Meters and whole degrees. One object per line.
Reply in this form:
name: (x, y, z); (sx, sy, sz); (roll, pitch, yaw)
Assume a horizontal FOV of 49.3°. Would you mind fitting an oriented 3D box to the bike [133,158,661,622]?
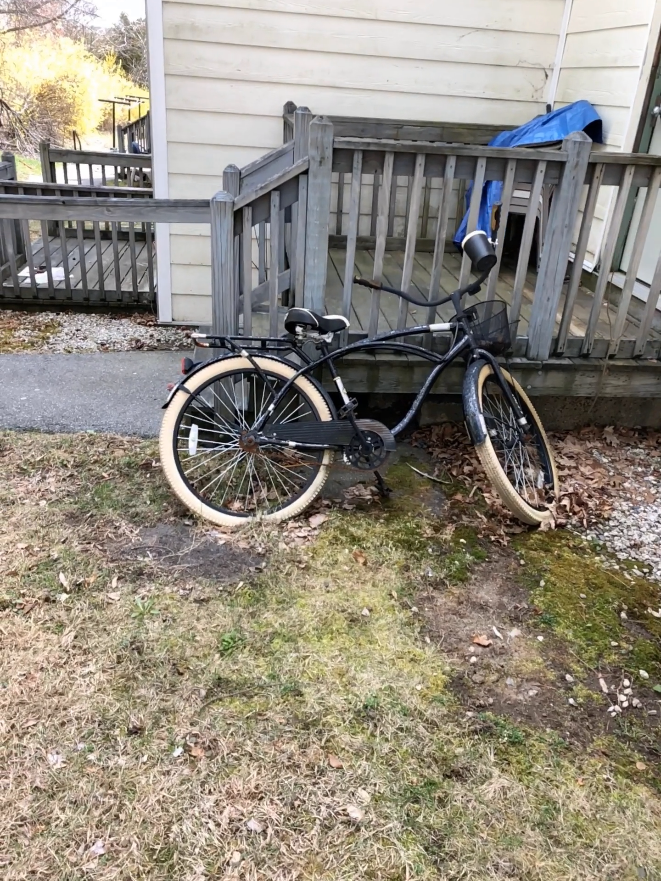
bike: (0.278, -0.267, 2.706); (1.611, 1.313, 0.942); (-8, 28, -16)
